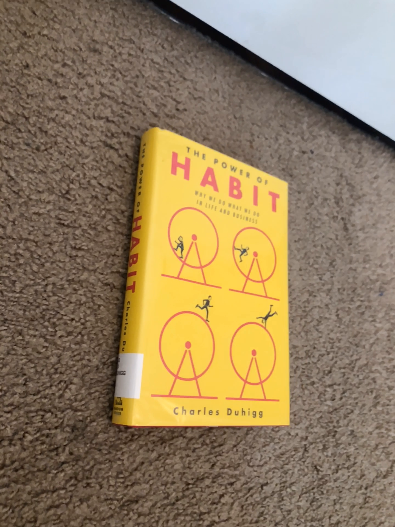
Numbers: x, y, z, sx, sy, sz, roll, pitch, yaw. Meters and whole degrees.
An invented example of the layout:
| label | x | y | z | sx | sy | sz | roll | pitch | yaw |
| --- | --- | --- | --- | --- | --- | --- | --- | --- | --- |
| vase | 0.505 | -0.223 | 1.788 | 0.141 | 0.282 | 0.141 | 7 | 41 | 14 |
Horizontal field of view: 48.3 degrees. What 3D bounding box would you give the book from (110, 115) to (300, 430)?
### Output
| label | x | y | z | sx | sy | sz | roll | pitch | yaw |
| --- | --- | --- | --- | --- | --- | --- | --- | --- | --- |
| book | 0.019 | 0.015 | 0.399 | 0.165 | 0.040 | 0.251 | 14 | 71 | -32 |
